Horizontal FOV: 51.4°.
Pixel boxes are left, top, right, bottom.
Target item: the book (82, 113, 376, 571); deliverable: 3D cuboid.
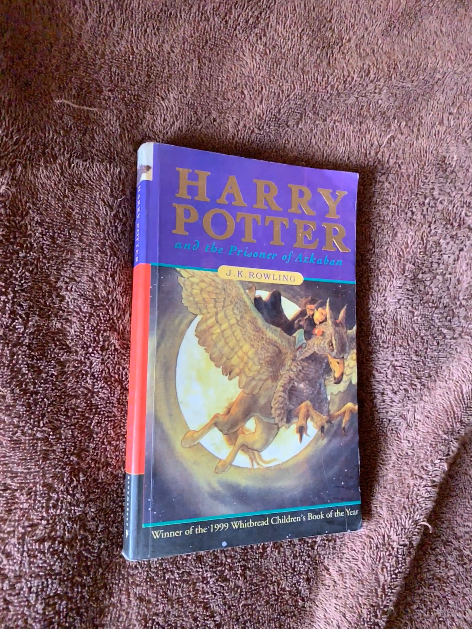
[{"bbox_3d":[0.001,0.010,0.225,0.130,0.020,0.180,2,84,-20],"label":"book"}]
